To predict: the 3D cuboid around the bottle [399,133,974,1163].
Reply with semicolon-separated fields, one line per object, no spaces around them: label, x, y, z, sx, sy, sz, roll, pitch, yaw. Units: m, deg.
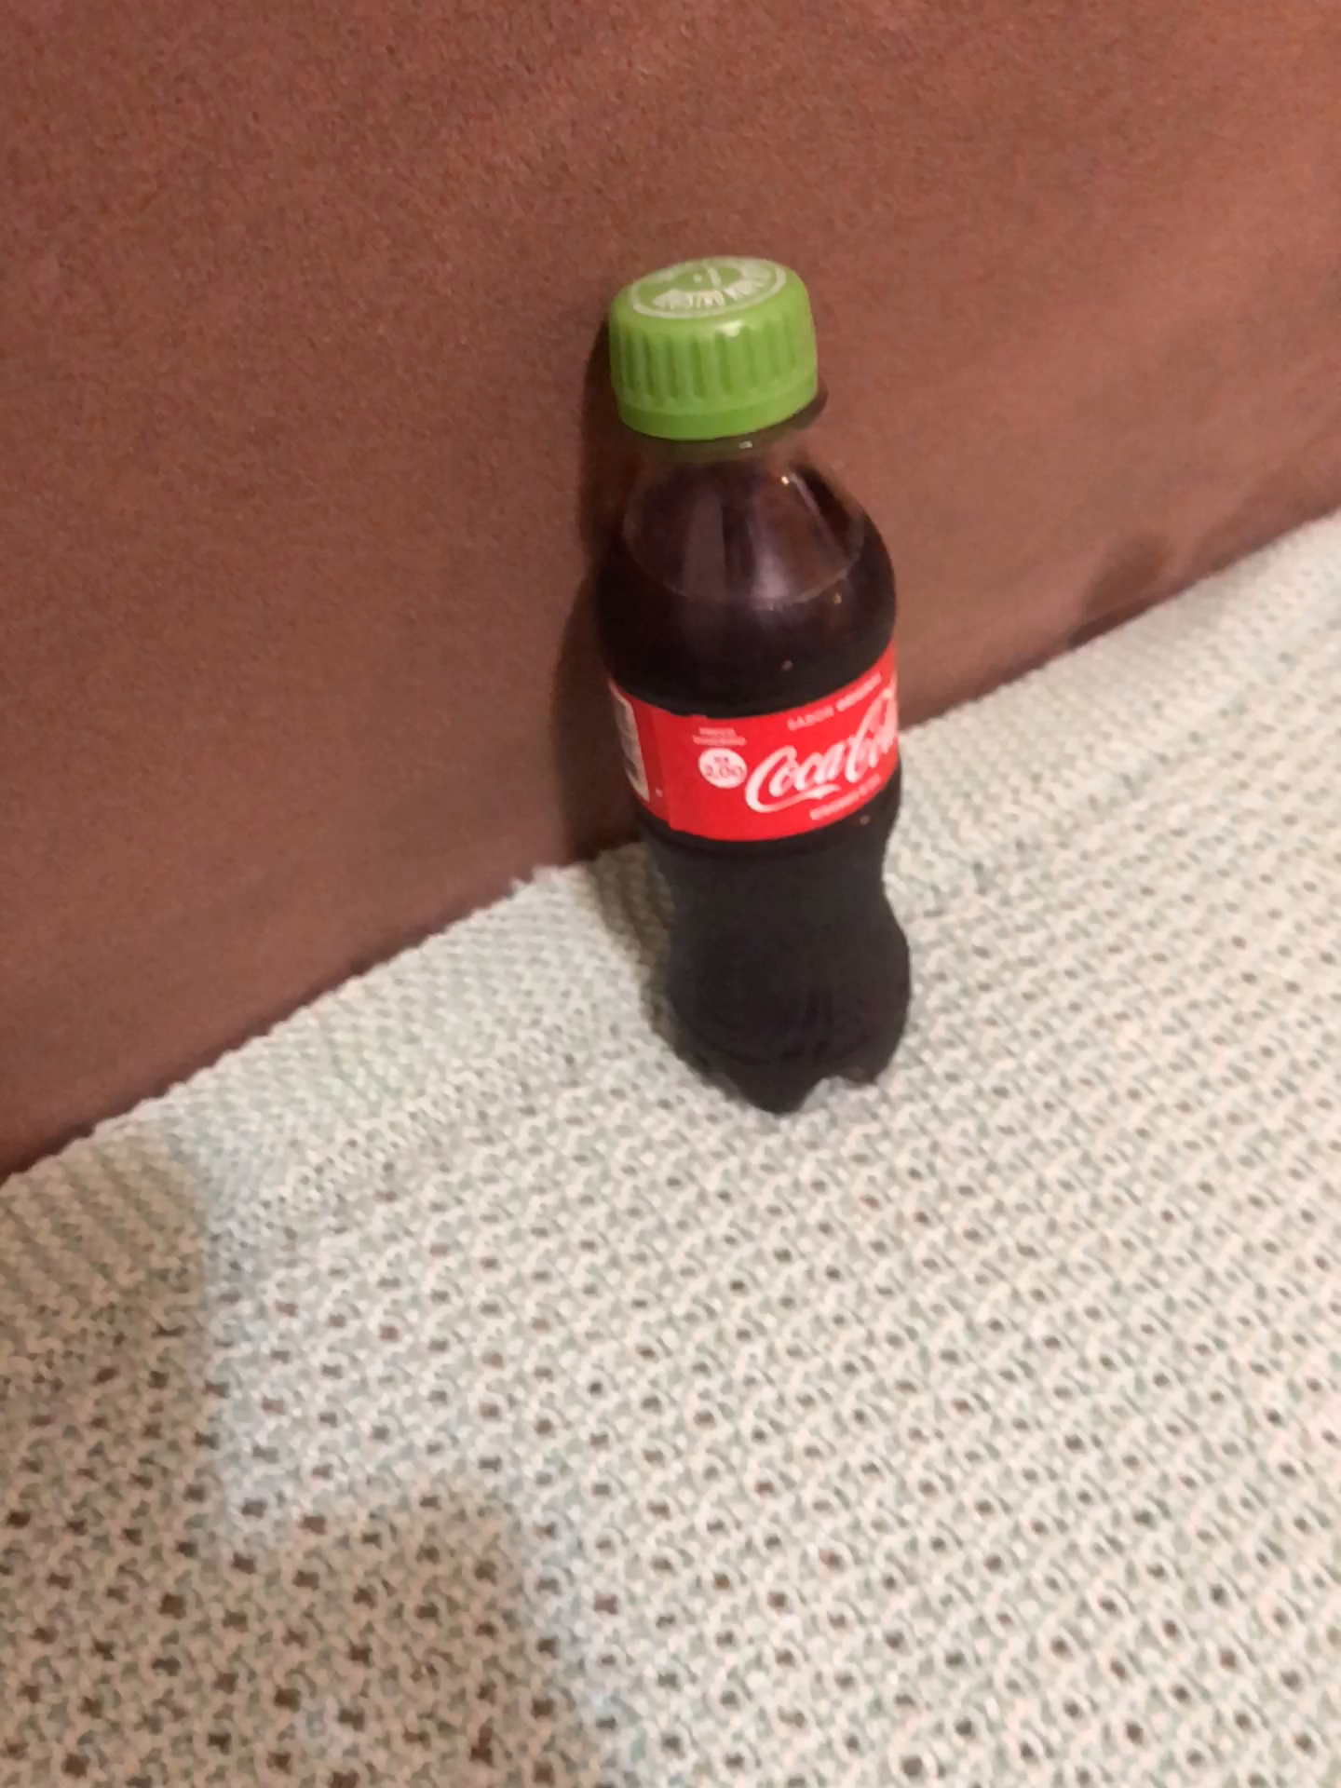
bottle;0.011;-0.036;0.278;0.060;0.169;0.060;-5;43;4
